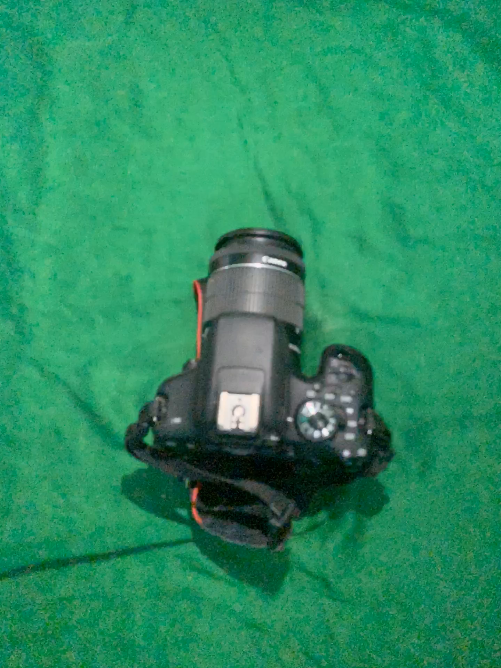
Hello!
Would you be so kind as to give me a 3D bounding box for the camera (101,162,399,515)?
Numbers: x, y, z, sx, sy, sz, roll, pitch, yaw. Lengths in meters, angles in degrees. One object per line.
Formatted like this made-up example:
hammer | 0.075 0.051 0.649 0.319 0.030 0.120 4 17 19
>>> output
camera | 0.005 0.008 0.326 0.152 0.100 0.190 -2 77 9
